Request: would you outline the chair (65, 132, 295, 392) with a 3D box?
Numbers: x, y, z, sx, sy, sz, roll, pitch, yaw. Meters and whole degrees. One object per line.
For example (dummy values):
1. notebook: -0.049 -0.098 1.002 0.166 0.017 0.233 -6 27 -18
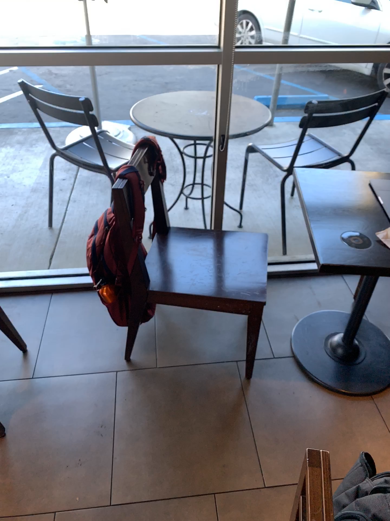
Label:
1. chair: -0.020 -0.003 1.807 0.740 0.855 0.694 6 39 5
